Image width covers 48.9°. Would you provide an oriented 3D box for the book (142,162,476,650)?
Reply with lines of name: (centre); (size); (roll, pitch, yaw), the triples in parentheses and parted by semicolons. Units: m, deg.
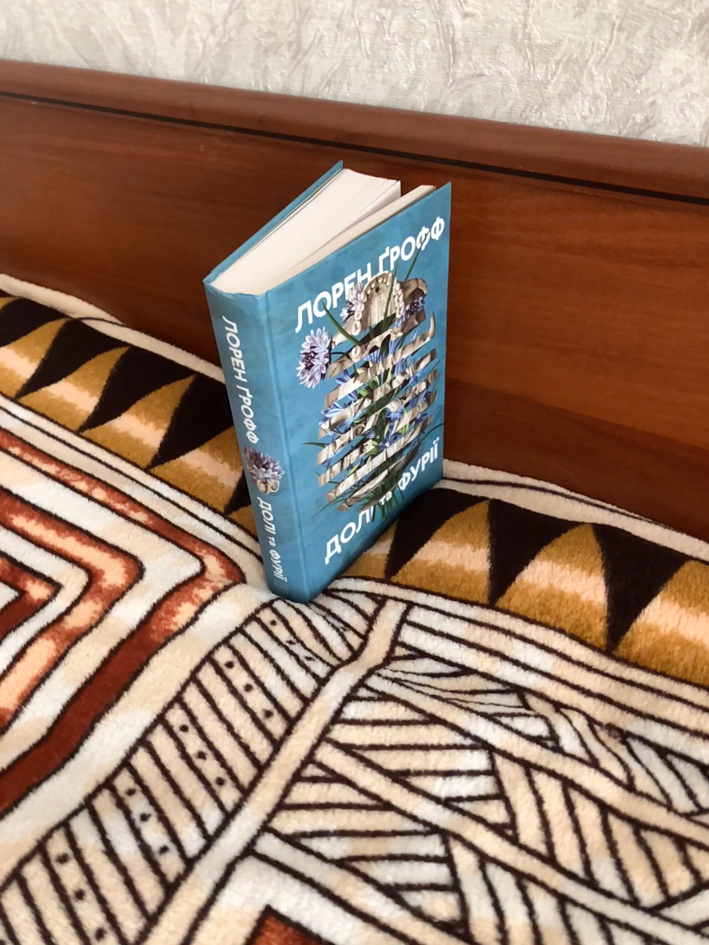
book: (-0.011, -0.036, 0.428); (0.078, 0.199, 0.161); (22, 48, 24)
